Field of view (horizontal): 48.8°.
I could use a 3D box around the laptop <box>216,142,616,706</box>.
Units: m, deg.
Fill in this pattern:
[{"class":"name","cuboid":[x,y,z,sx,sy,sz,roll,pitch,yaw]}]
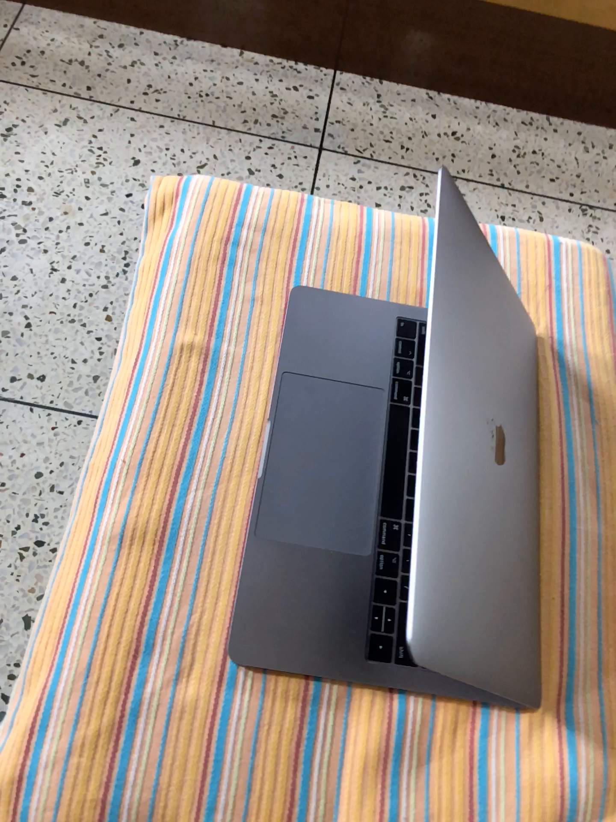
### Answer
[{"class":"laptop","cuboid":[0.073,0.014,0.439,0.203,0.160,0.295,11,64,-3]}]
